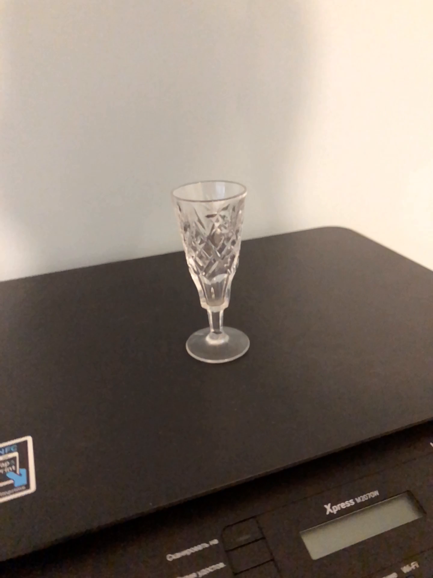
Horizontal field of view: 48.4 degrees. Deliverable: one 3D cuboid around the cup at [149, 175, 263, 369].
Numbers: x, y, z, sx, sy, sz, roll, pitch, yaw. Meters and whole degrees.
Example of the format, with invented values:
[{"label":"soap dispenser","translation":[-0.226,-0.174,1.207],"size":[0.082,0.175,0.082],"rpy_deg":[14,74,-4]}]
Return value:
[{"label":"cup","translation":[-0.003,-0.012,0.316],"size":[0.057,0.109,0.054],"rpy_deg":[-2,26,1]}]
